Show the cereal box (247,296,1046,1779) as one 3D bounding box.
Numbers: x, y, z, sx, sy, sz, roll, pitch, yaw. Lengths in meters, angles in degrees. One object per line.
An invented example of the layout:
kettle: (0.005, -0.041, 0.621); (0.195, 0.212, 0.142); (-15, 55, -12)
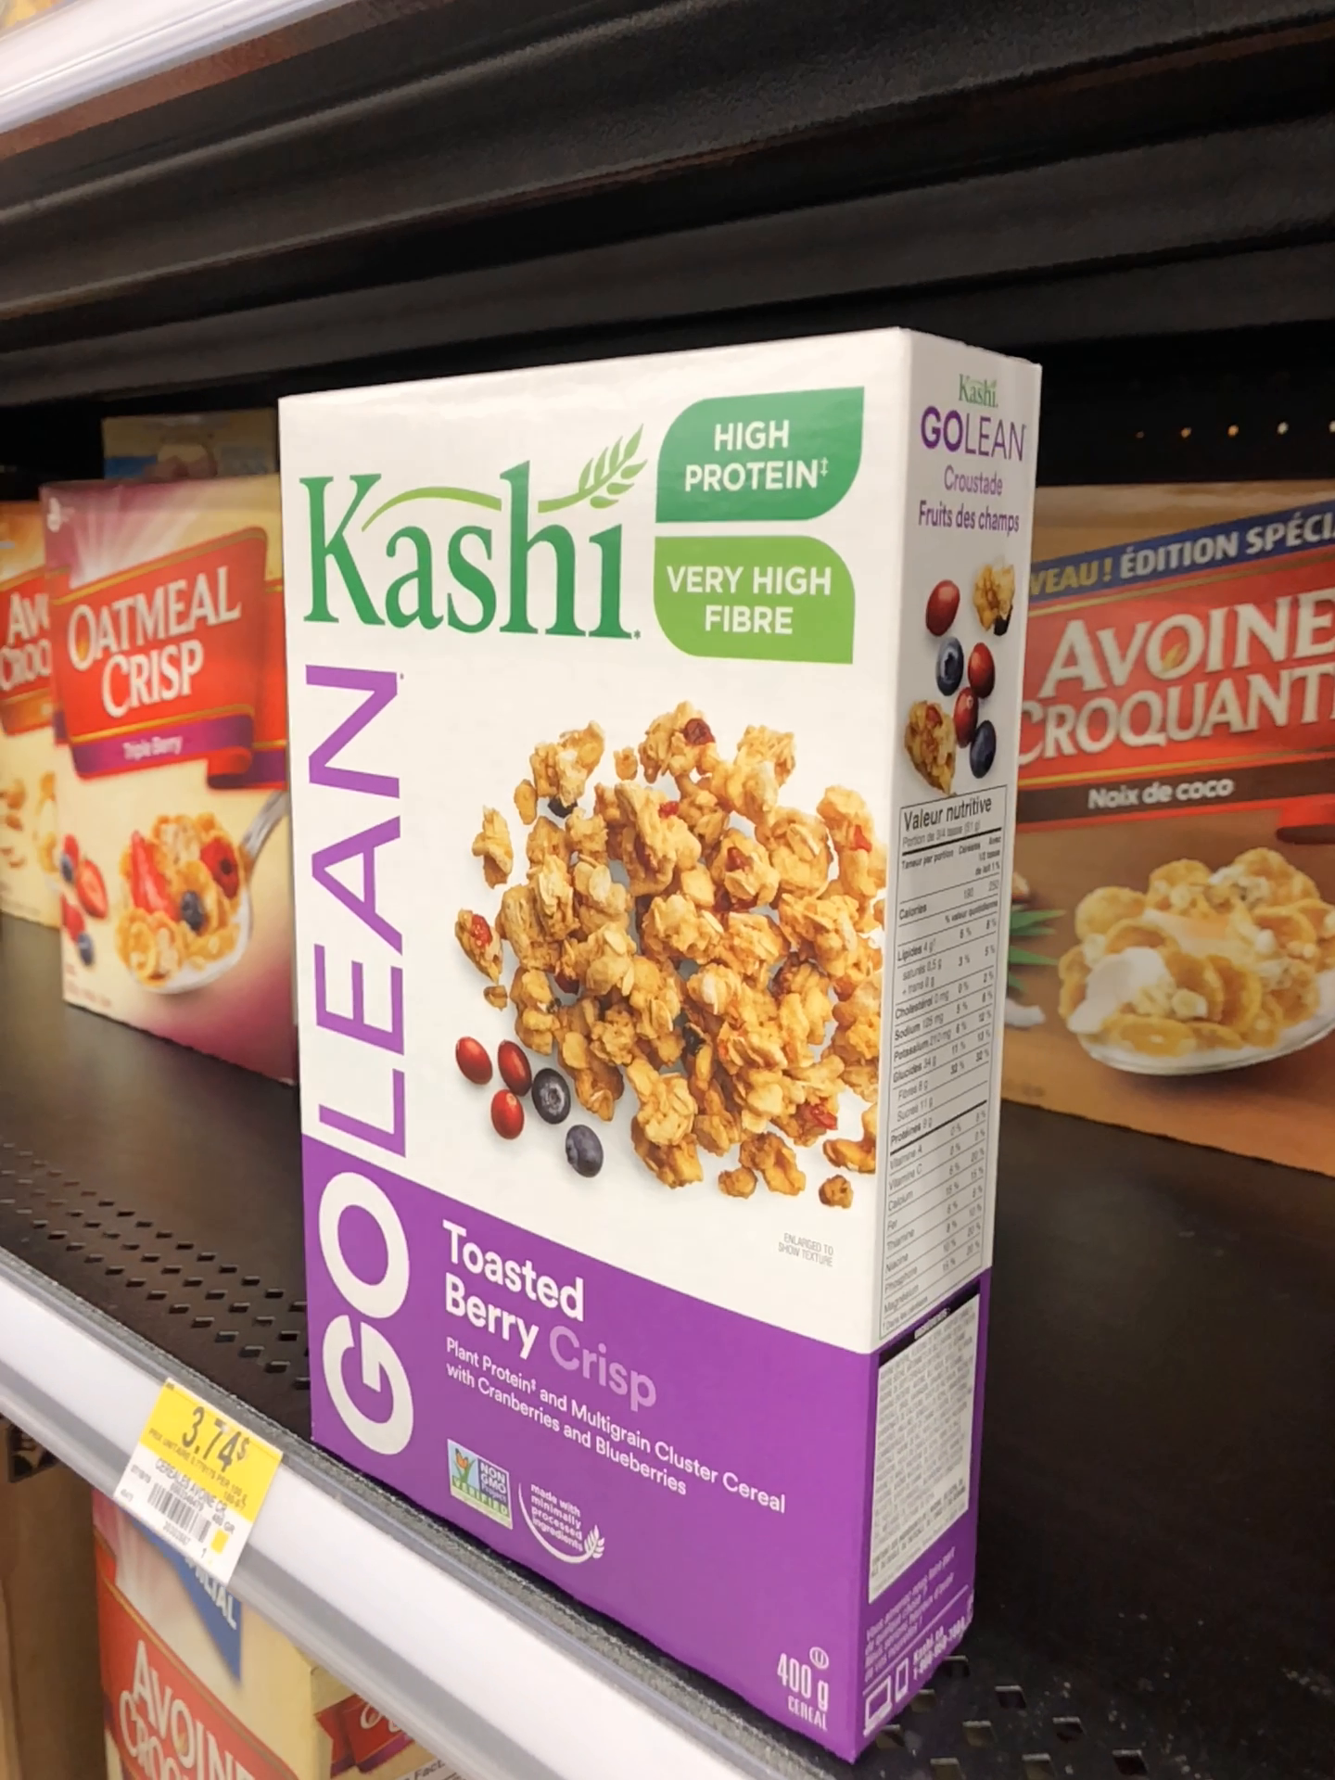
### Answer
cereal box: (-0.014, 0.024, 0.327); (0.170, 0.269, 0.050); (10, 15, 38)
